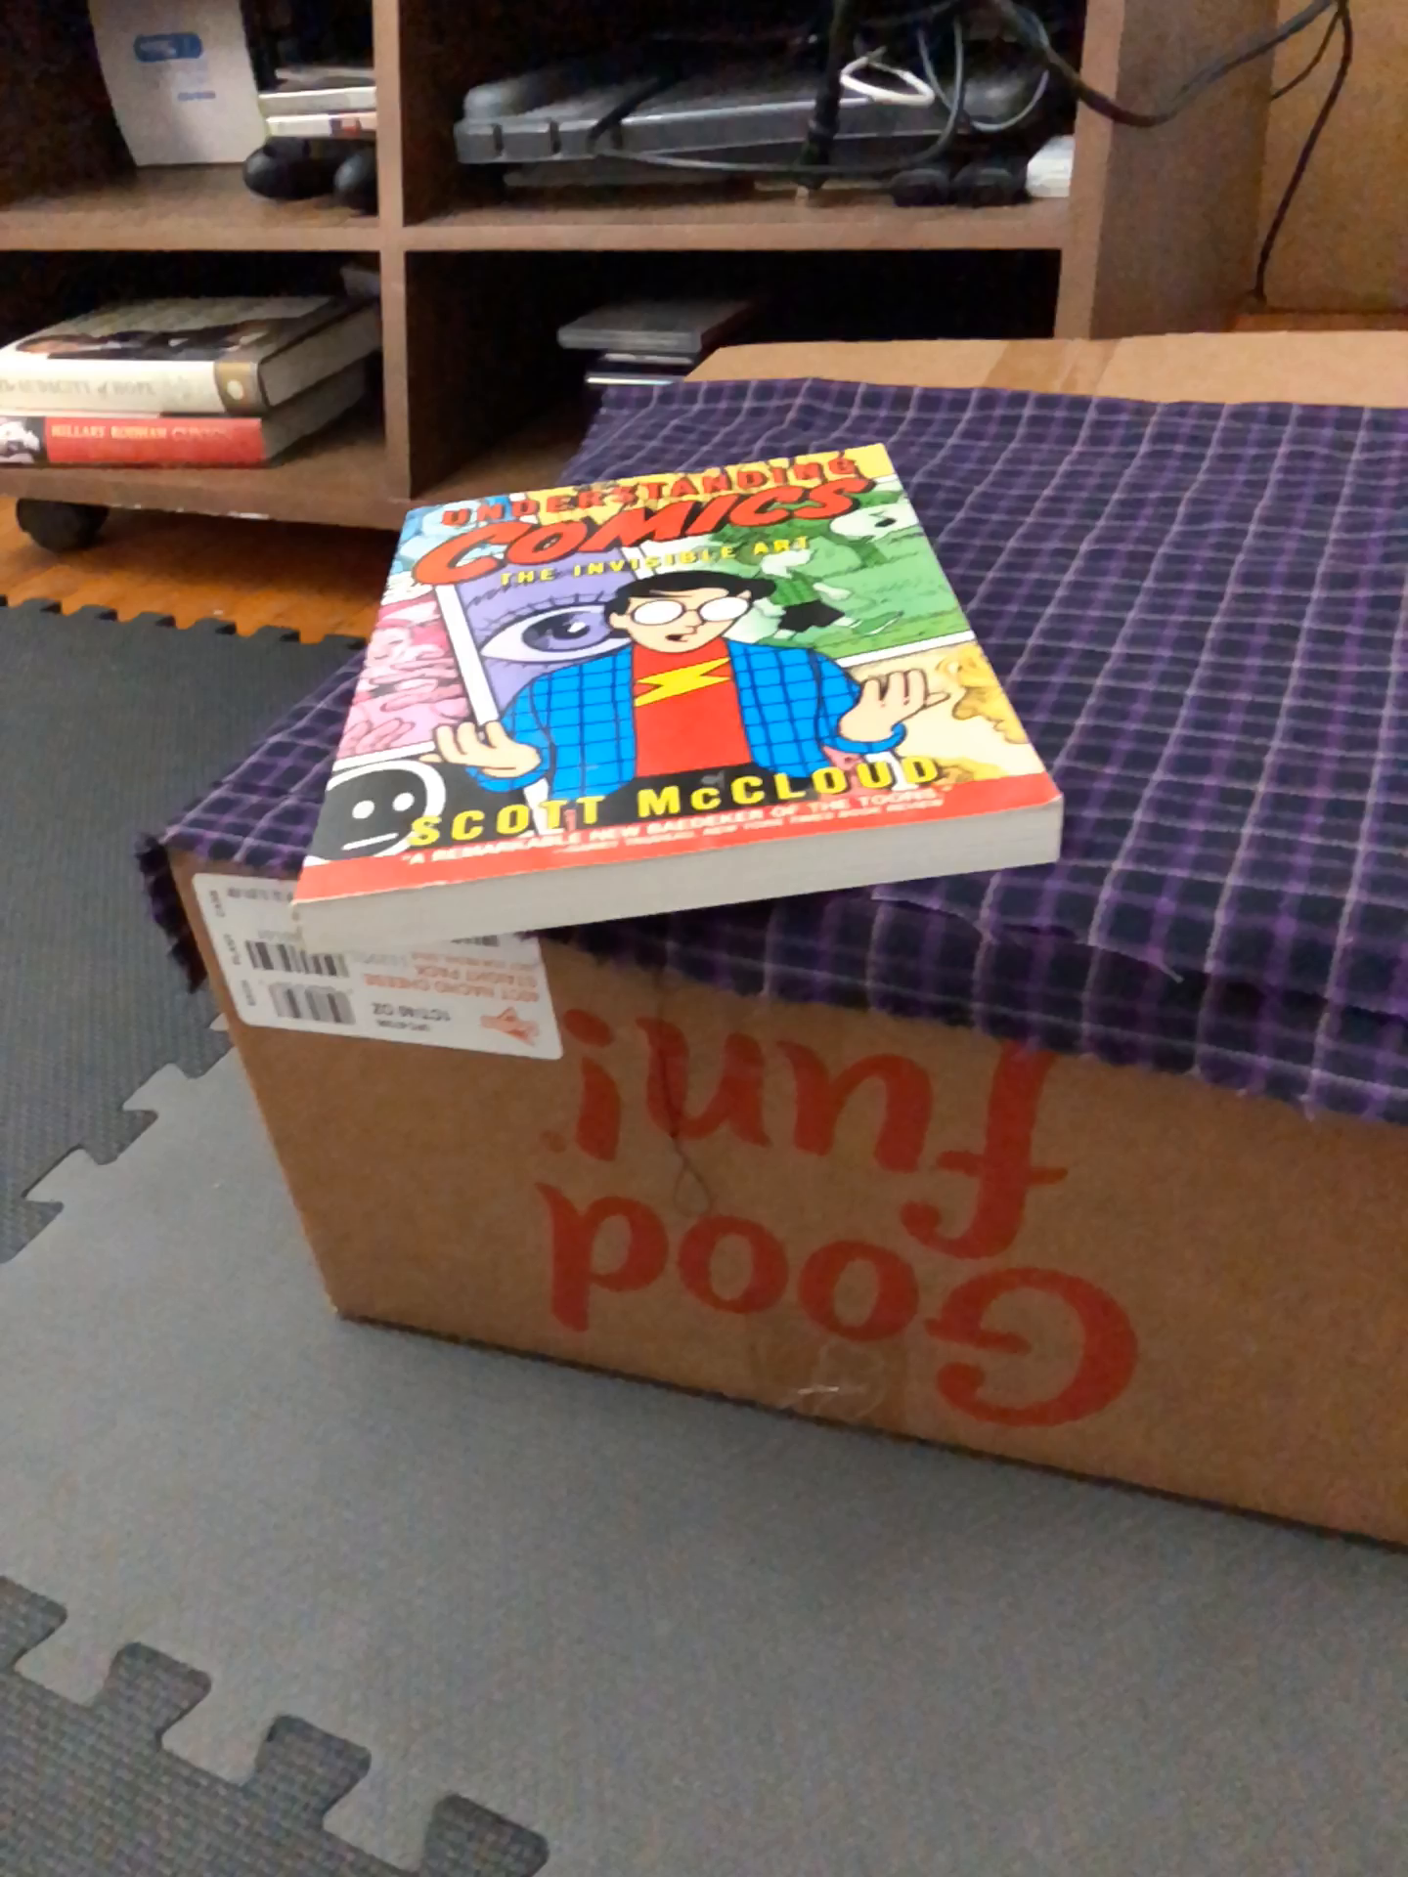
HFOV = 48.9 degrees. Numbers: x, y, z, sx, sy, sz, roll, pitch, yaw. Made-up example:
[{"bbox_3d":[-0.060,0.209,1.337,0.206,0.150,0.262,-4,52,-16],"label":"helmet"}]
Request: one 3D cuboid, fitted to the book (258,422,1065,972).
[{"bbox_3d":[-0.016,-0.088,0.441,0.170,0.020,0.272,-7,34,1],"label":"book"}]
